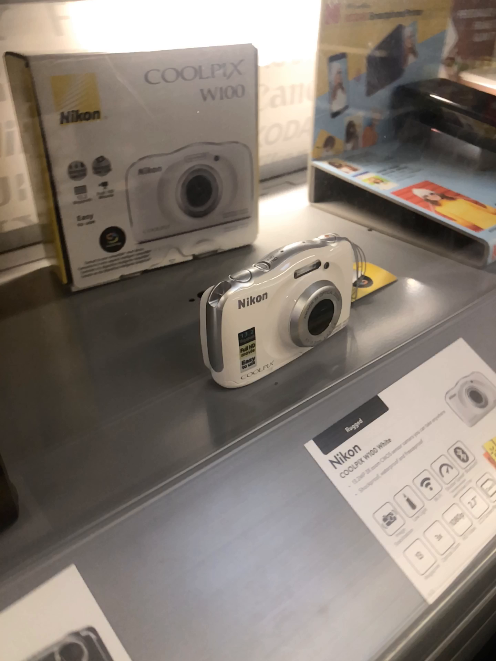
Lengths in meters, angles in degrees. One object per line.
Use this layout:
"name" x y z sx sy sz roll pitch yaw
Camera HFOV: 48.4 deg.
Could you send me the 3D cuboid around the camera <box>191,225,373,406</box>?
"camera" 0.023 -0.012 0.314 0.110 0.060 0.030 -28 41 -35
